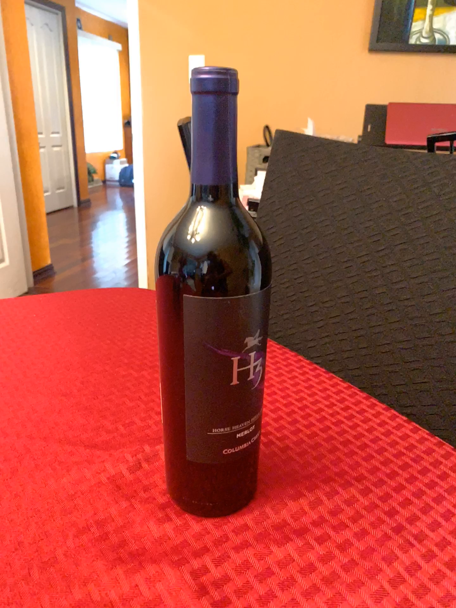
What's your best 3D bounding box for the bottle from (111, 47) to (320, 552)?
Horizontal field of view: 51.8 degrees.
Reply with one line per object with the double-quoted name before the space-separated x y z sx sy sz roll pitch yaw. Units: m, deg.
"bottle" -0.011 0.004 0.305 0.080 0.289 0.080 2 21 -1
